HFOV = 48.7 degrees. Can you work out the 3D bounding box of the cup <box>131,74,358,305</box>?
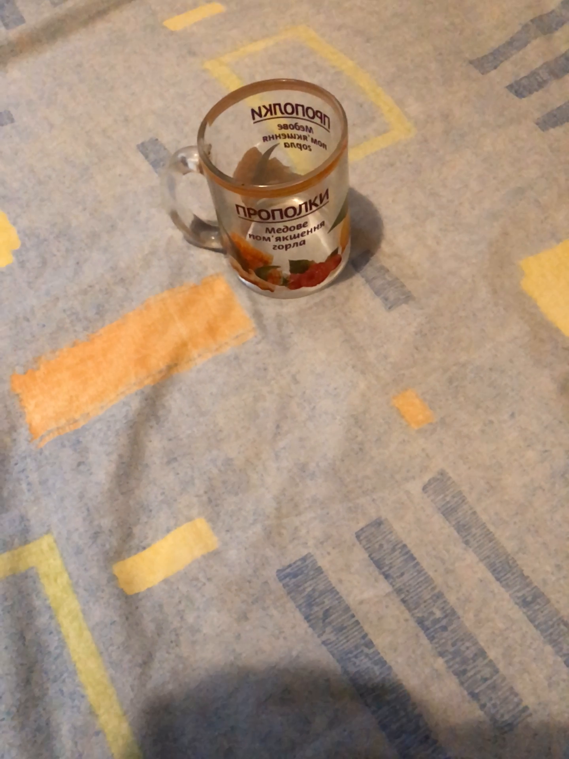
[{"bbox_3d":[-0.017,-0.105,0.363,0.110,0.092,0.084,-1,63,3],"label":"cup"}]
